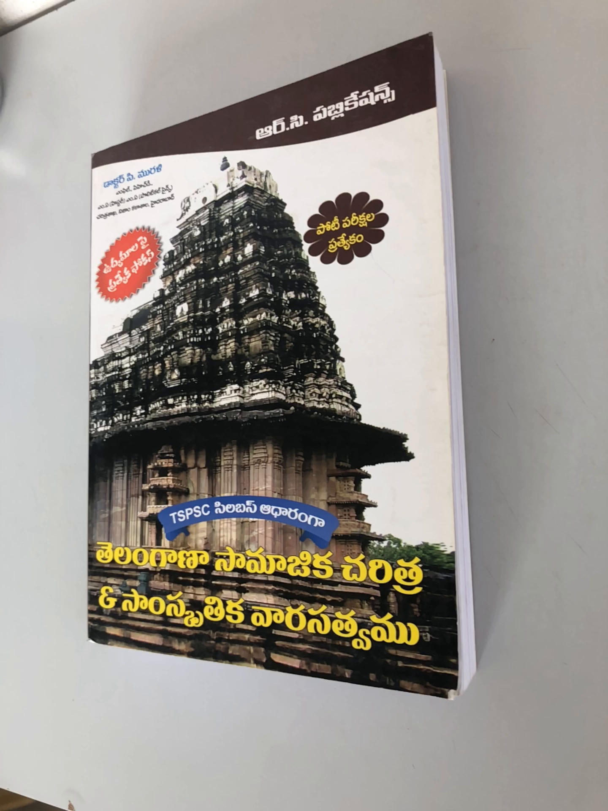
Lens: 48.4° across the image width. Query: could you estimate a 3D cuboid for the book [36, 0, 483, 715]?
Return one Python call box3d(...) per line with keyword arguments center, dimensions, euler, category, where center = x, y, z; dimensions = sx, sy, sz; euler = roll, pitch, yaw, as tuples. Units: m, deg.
box3d(center=(-0.026, -0.015, 0.275), dimensions=(0.180, 0.040, 0.230), euler=(-3, 83, 29), category="book")
